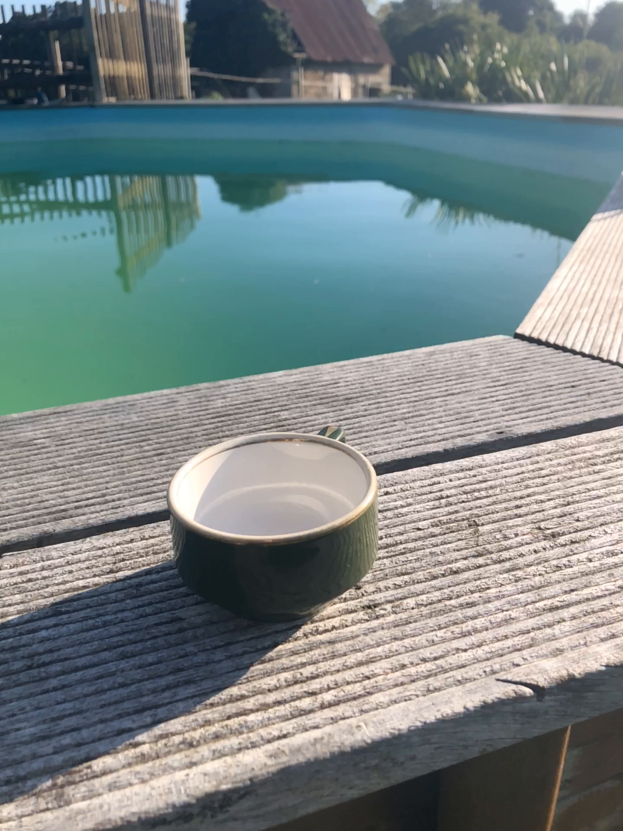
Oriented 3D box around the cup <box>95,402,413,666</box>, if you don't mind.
[{"bbox_3d":[-0.014,0.036,0.260,0.083,0.038,0.096,7,27,21],"label":"cup"}]
